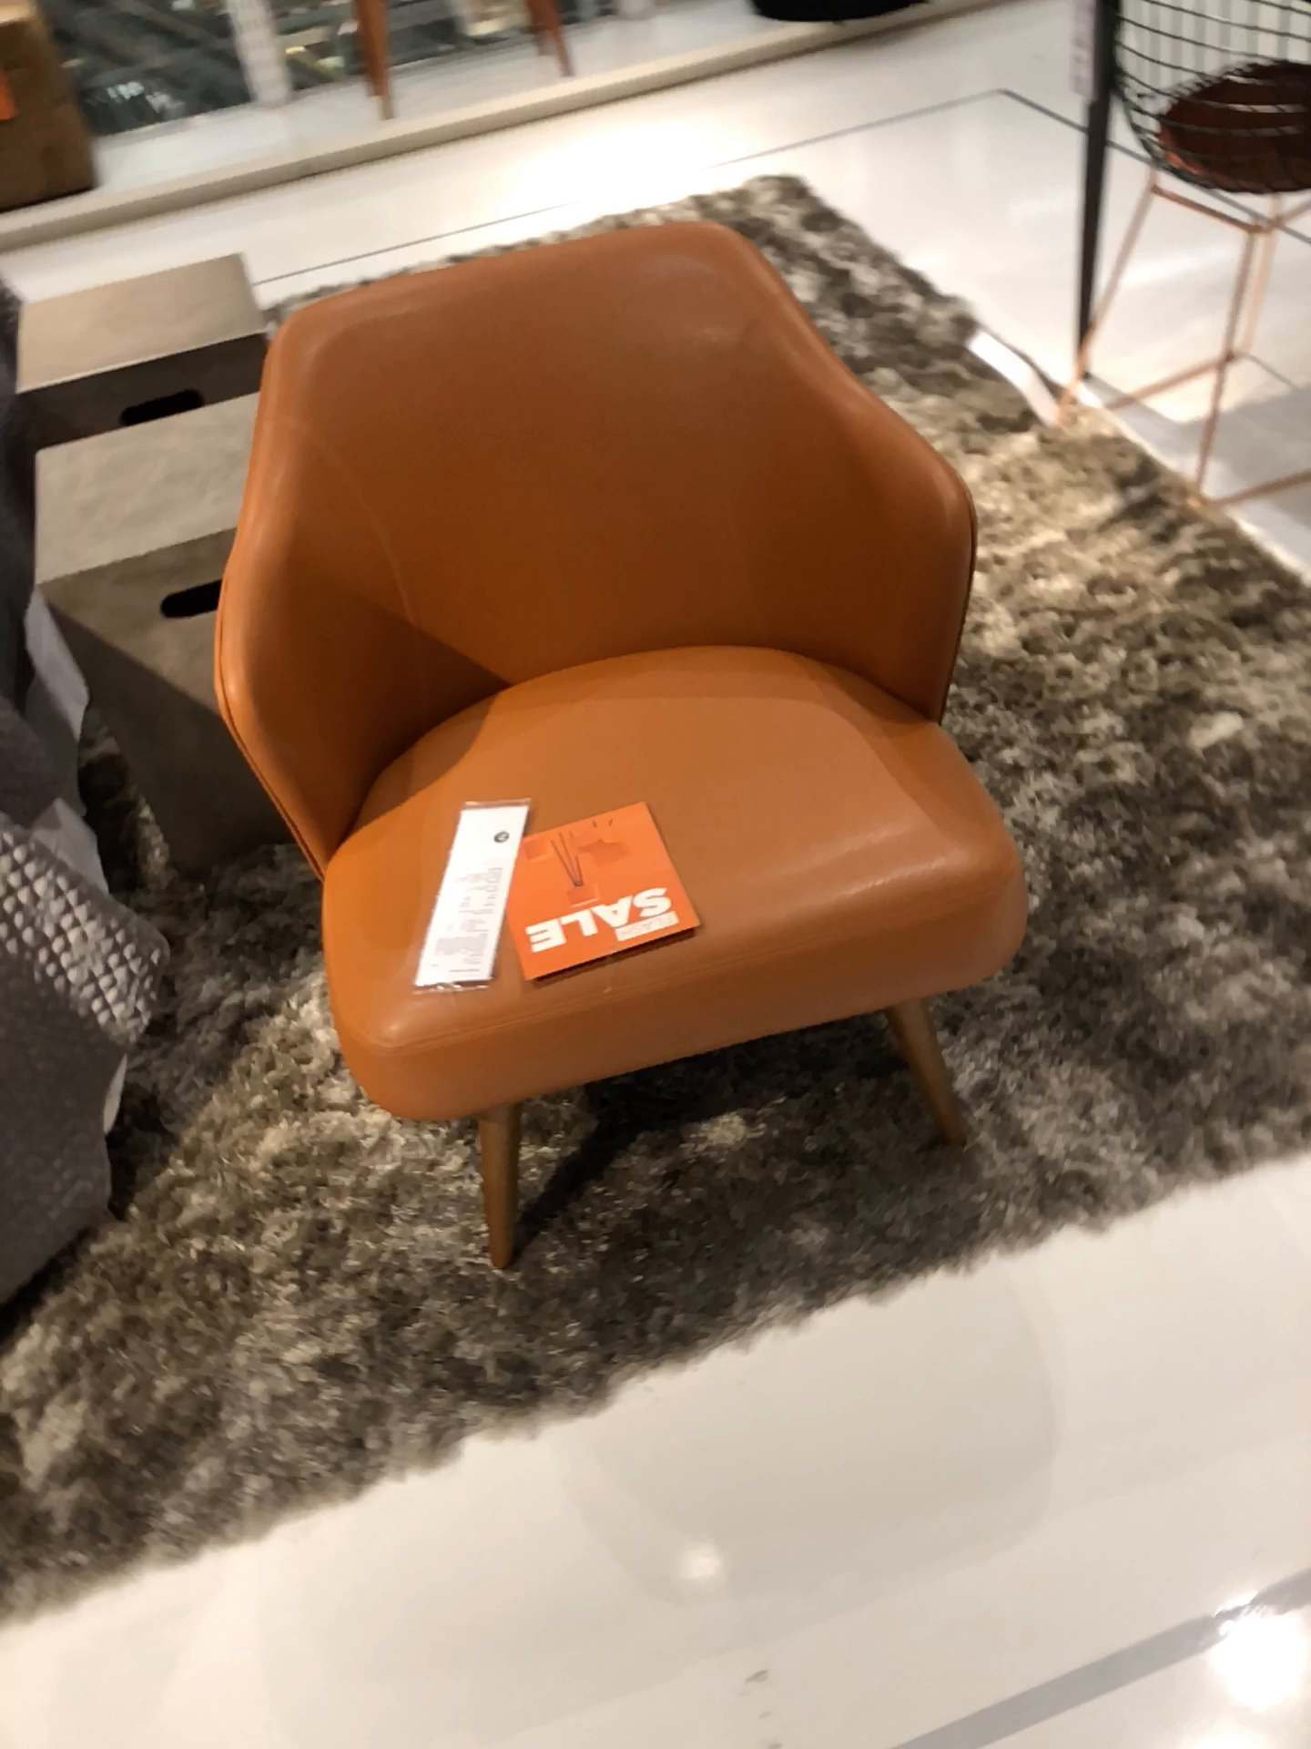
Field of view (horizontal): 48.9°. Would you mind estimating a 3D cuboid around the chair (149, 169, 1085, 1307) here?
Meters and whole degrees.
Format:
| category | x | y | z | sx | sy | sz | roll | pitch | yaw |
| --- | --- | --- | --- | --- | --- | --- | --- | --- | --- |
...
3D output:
| category | x | y | z | sx | sy | sz | roll | pitch | yaw |
| --- | --- | --- | --- | --- | --- | --- | --- | --- | --- |
| chair | -0.038 | -0.138 | 1.359 | 0.590 | 0.704 | 0.655 | -14 | 43 | -4 |
